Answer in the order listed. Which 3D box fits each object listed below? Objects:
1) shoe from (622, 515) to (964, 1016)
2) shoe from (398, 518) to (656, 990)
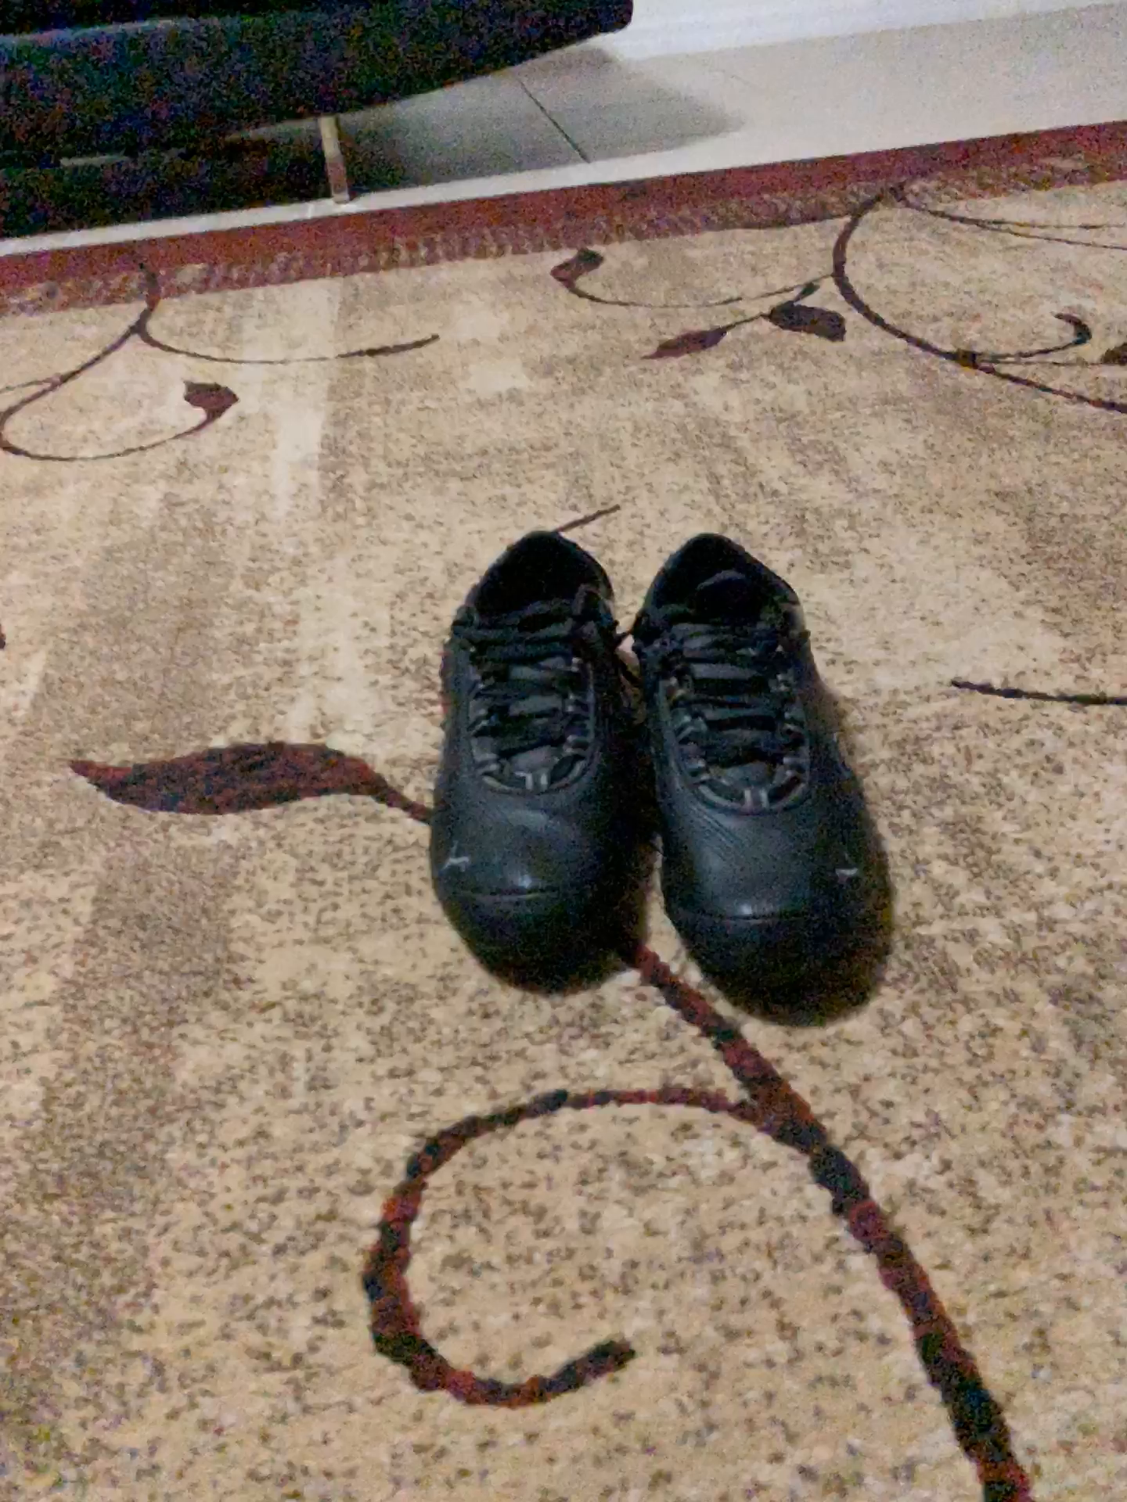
[{"bbox_3d":[0.082,-0.011,0.492,0.088,0.073,0.246,-6,36,1],"label":"shoe"},{"bbox_3d":[-0.007,-0.014,0.511,0.085,0.073,0.246,-3,36,4],"label":"shoe"}]
